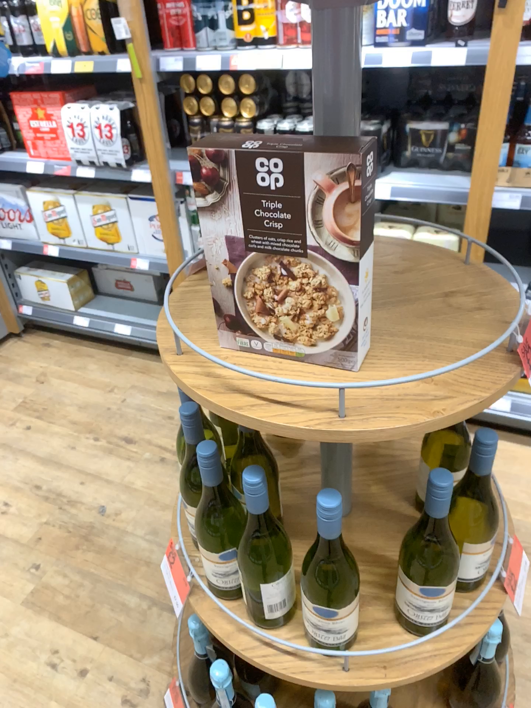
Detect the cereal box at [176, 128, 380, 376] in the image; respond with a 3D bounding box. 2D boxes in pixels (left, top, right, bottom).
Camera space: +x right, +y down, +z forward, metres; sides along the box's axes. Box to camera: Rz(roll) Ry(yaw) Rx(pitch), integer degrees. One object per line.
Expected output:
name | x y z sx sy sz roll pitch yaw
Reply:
cereal box | 0.019 -0.106 0.593 0.190 0.248 0.050 11 38 22
